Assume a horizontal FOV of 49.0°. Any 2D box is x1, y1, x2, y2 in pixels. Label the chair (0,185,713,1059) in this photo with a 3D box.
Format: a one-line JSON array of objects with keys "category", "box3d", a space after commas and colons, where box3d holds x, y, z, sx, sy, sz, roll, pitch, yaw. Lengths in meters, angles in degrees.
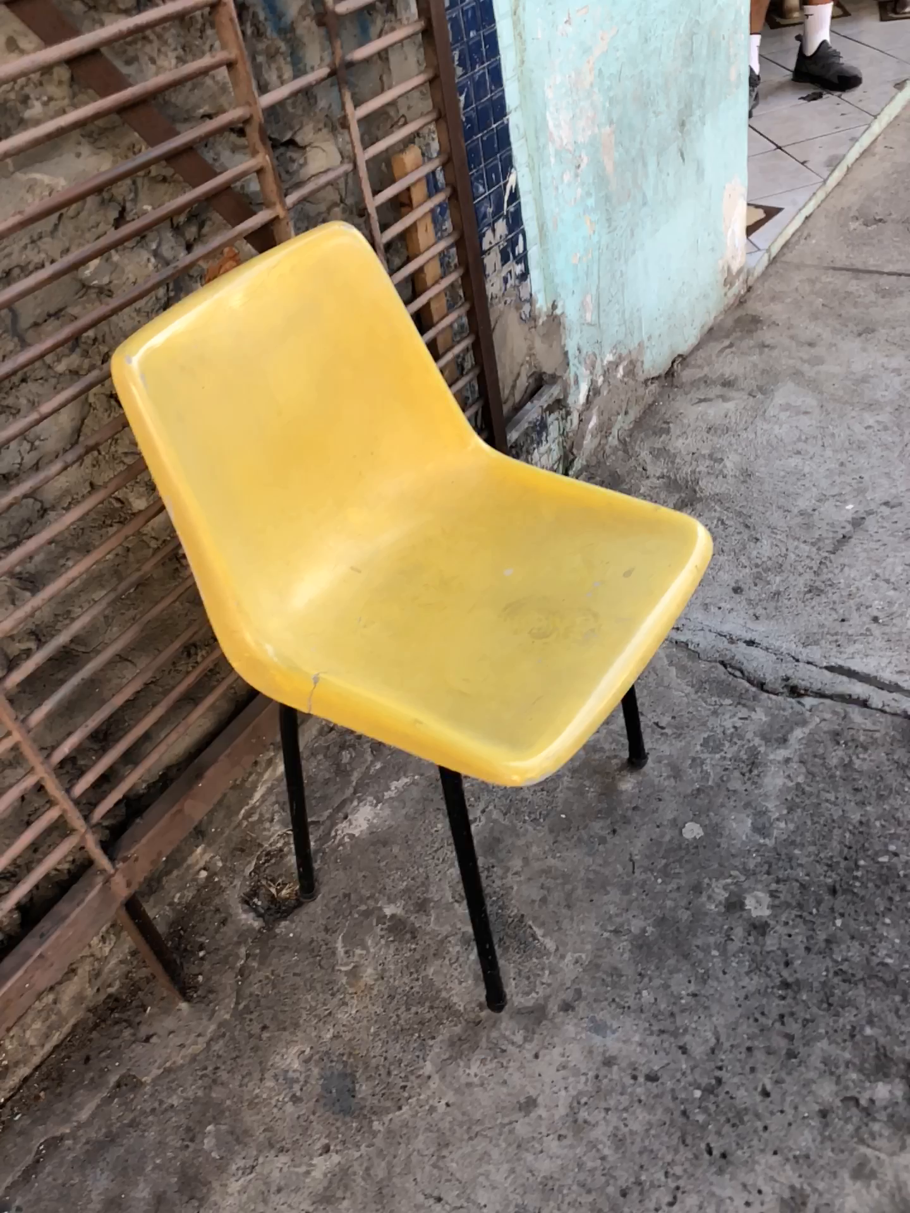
[{"category": "chair", "box3d": [-0.039, 0.003, 1.093, 0.471, 0.715, 0.482, 18, 48, 31]}]
